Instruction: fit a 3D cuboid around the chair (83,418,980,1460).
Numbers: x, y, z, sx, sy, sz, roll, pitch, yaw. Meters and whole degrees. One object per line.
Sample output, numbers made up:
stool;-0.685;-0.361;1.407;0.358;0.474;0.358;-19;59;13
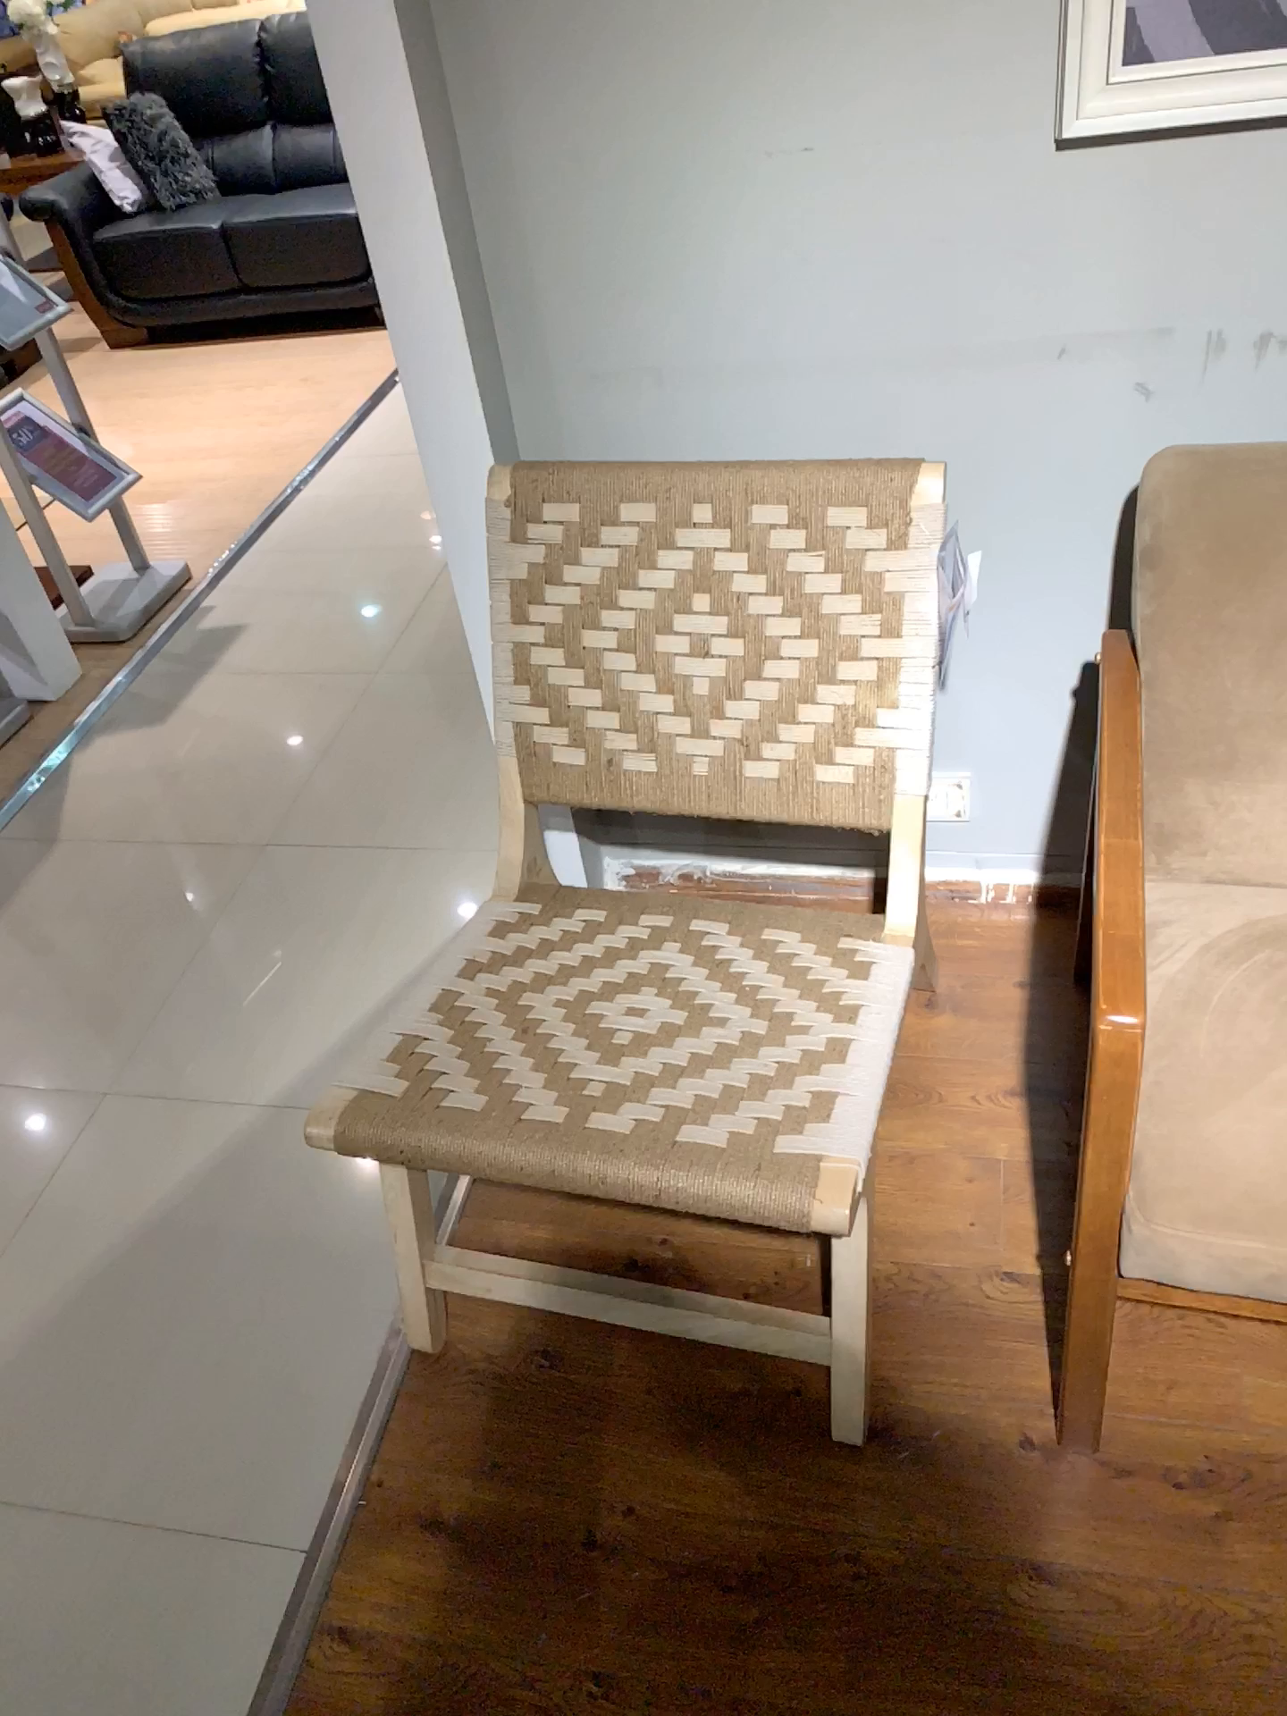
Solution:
chair;0.006;0.069;1.439;0.631;0.846;0.662;4;40;17
